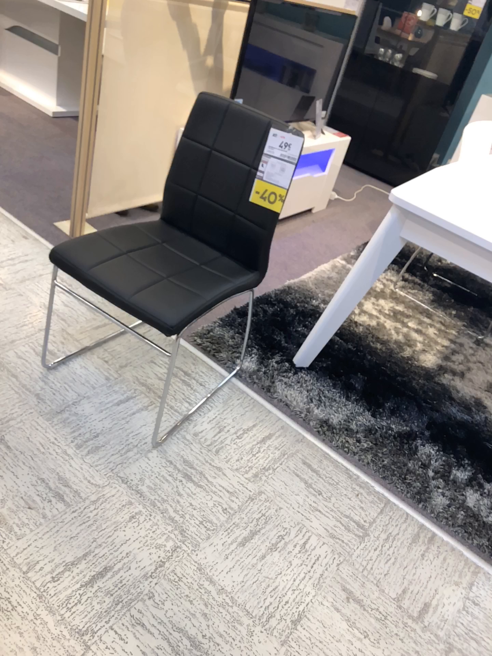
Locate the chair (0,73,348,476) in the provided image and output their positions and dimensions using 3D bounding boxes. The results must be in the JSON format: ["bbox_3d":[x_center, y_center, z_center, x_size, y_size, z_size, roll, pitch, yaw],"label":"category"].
[{"bbox_3d":[-0.228,-0.188,1.490,0.550,0.794,0.635,33,36,23],"label":"chair"}]
